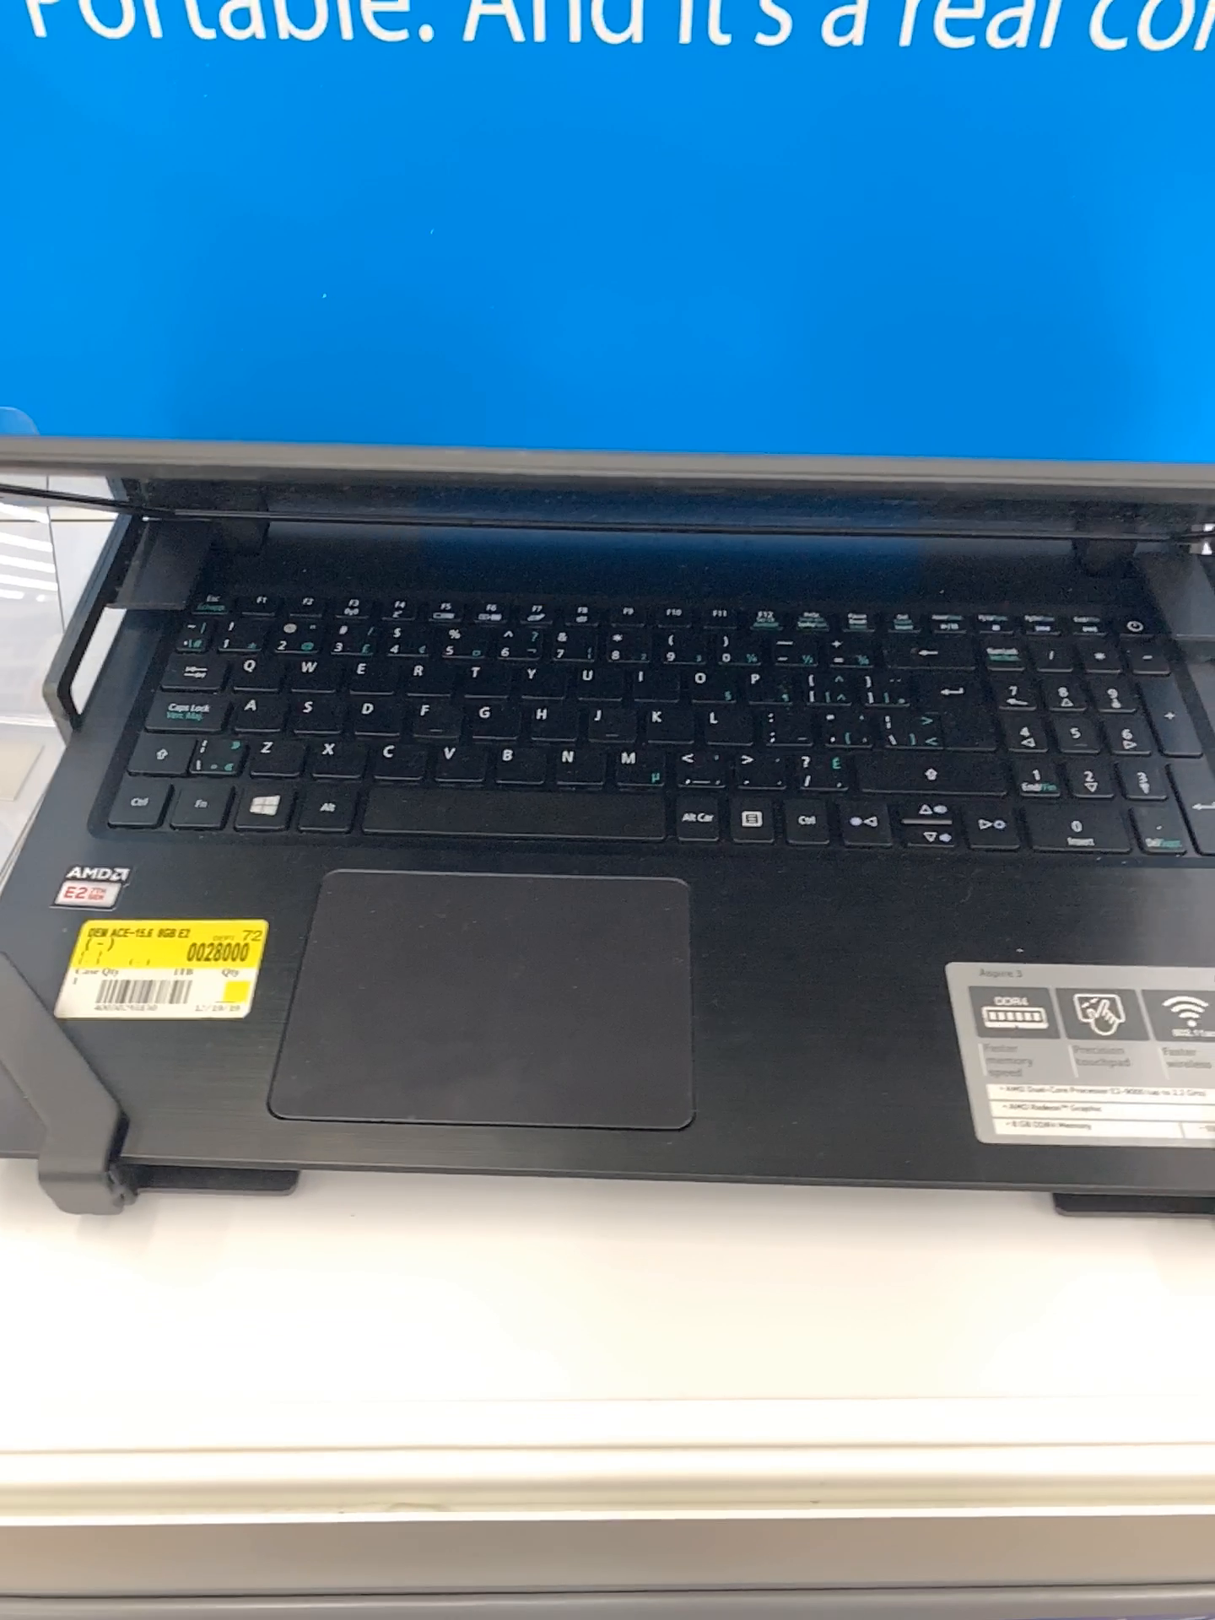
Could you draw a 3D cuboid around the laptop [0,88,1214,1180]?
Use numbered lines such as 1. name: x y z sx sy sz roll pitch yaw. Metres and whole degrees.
1. laptop: 0.019 -0.050 0.316 0.364 0.137 0.222 2 52 0
